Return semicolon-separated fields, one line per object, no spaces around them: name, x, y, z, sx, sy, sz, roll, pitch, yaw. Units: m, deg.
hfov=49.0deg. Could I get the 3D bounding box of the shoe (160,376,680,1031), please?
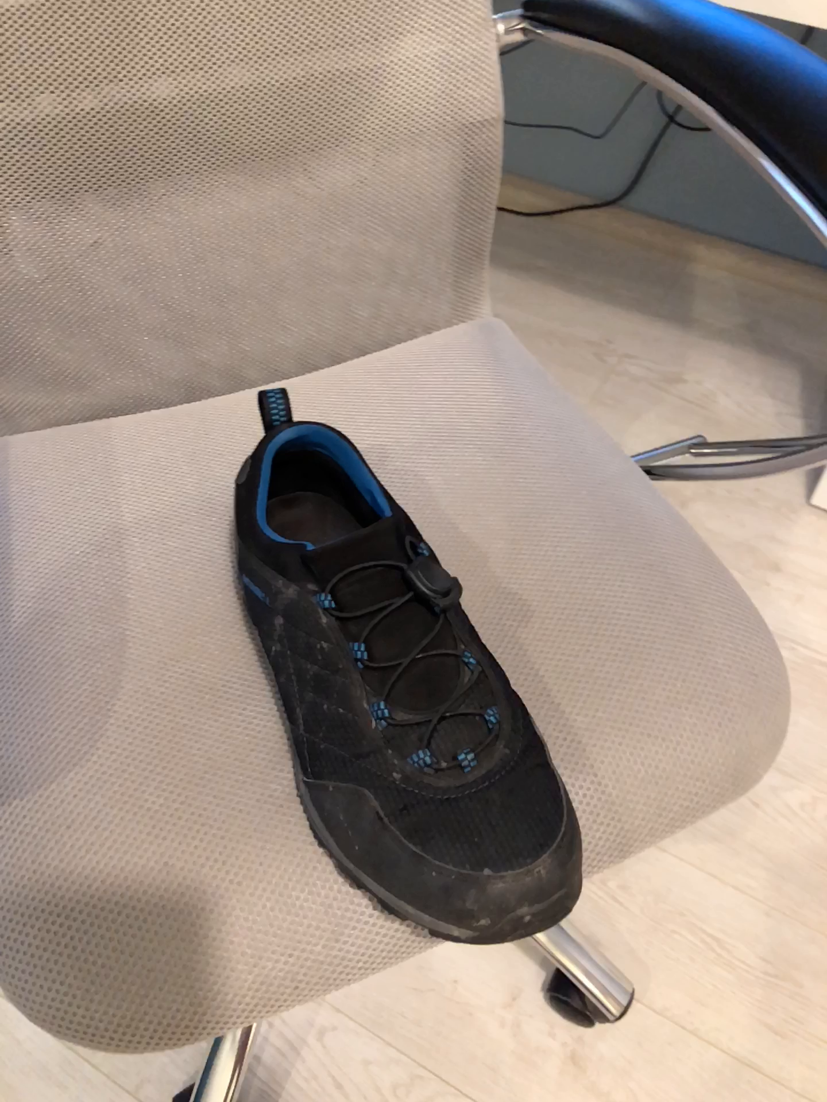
shoe;-0.017;0.058;0.475;0.128;0.109;0.301;-21;54;-16
